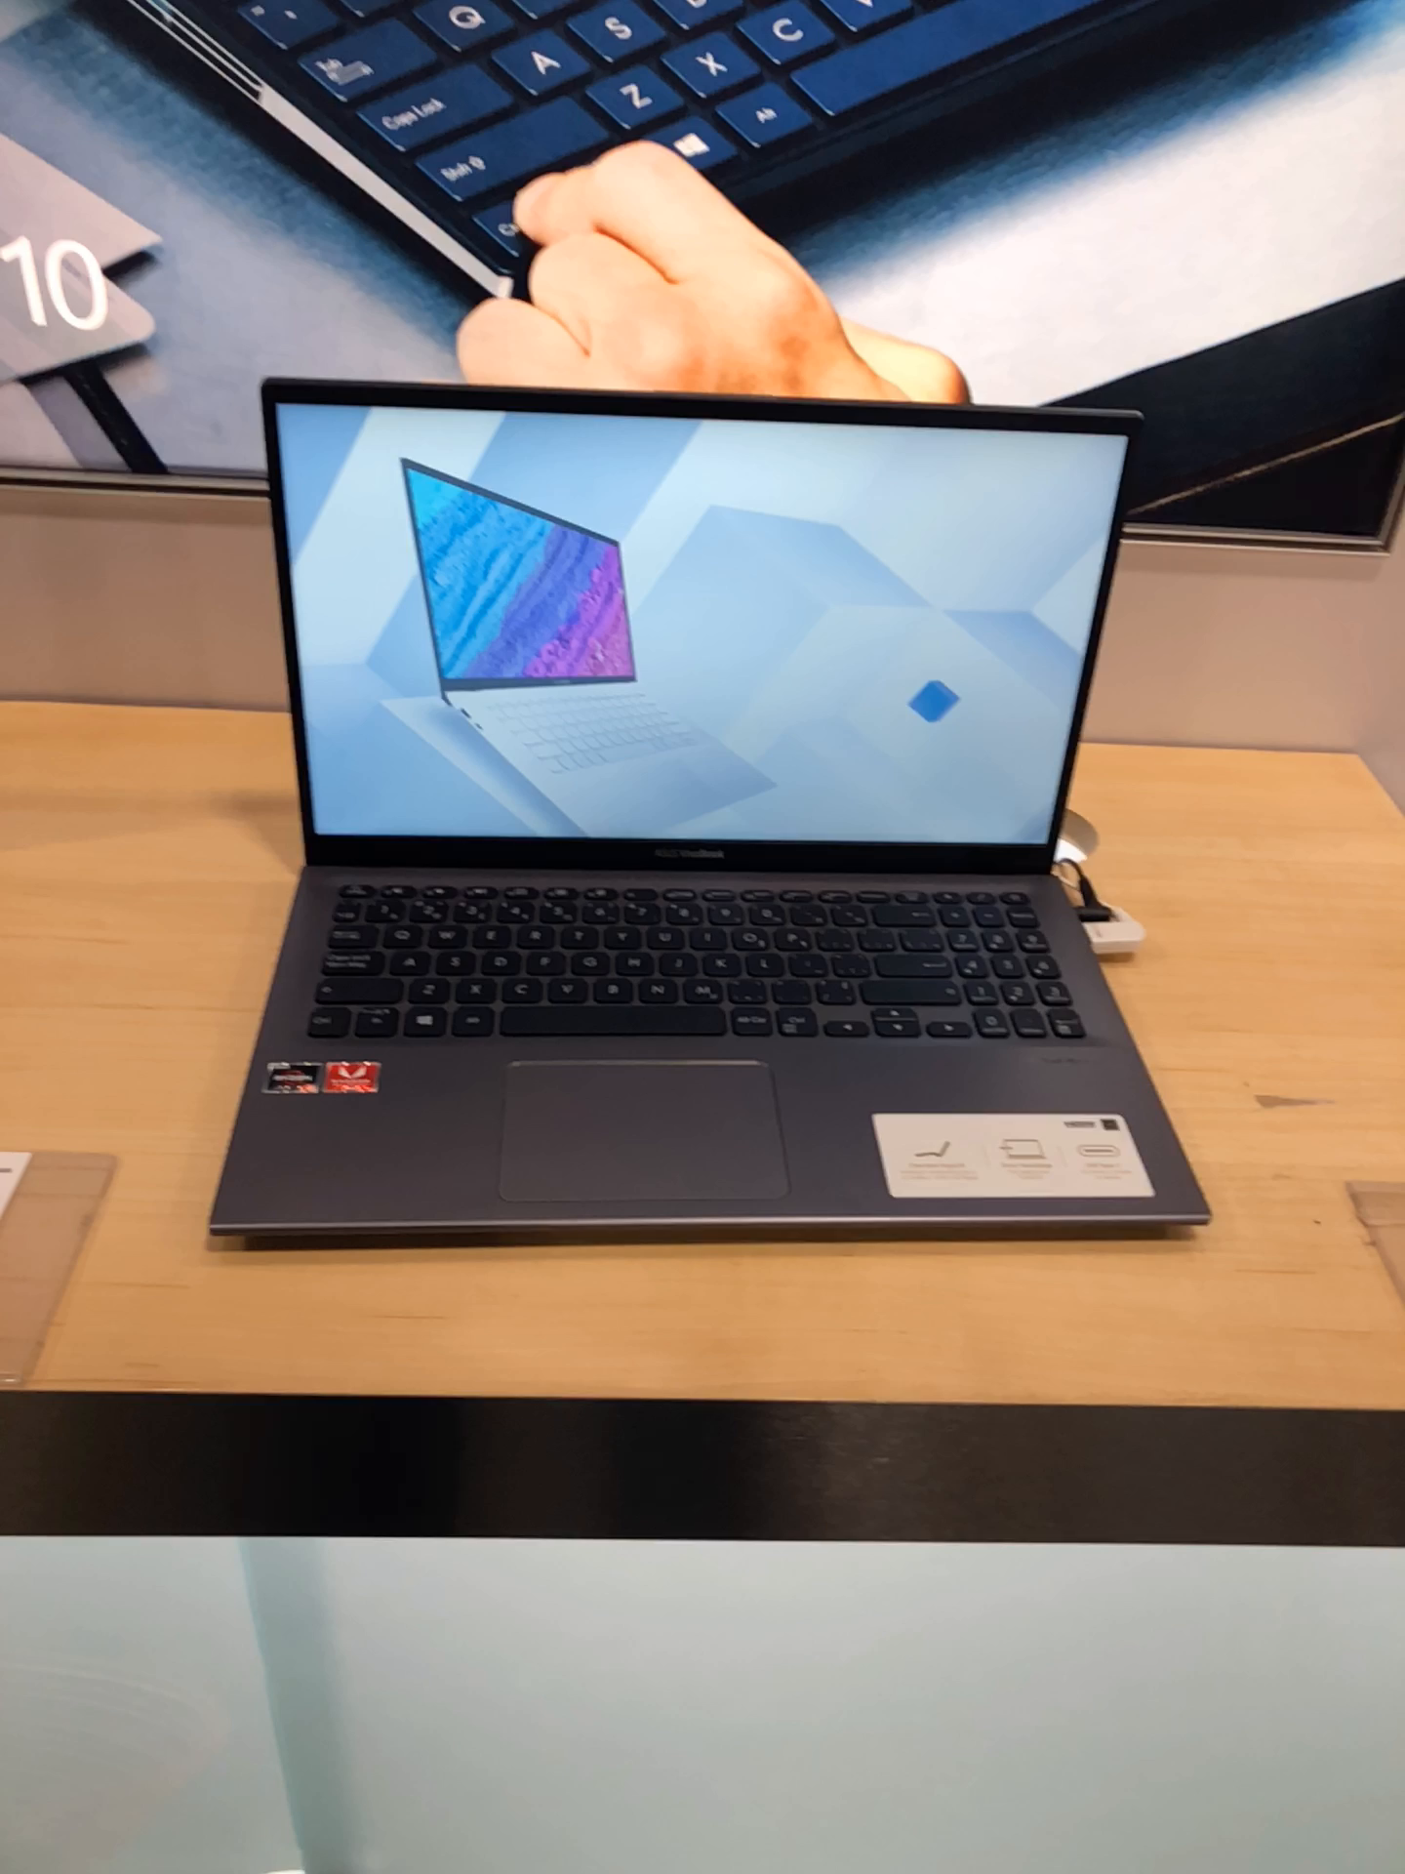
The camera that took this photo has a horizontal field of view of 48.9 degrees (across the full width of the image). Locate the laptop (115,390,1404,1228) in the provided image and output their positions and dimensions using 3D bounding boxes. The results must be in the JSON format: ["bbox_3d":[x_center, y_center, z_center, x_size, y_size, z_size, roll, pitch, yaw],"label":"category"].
[{"bbox_3d":[0.007,-0.054,0.575,0.349,0.211,0.243,1,35,-4],"label":"laptop"}]
